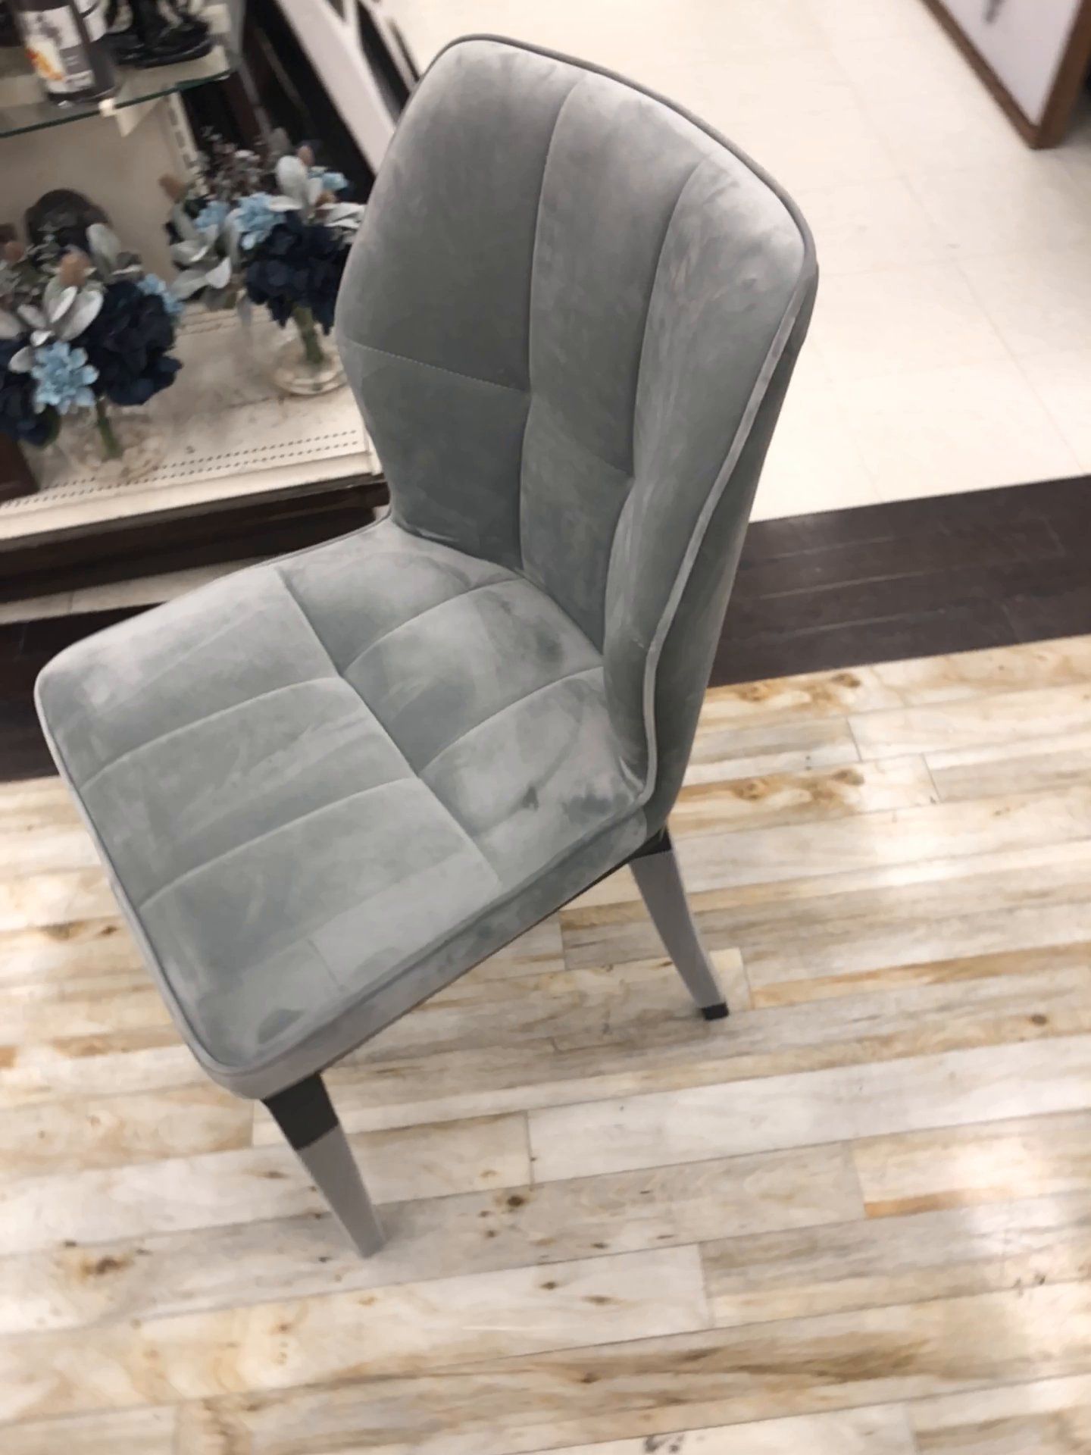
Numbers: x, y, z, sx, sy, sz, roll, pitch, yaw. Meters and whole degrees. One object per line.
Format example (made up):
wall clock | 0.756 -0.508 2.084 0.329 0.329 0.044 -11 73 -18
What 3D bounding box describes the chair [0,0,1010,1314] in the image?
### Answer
chair | -0.102 -0.015 1.030 0.570 0.838 0.531 -28 53 -16
